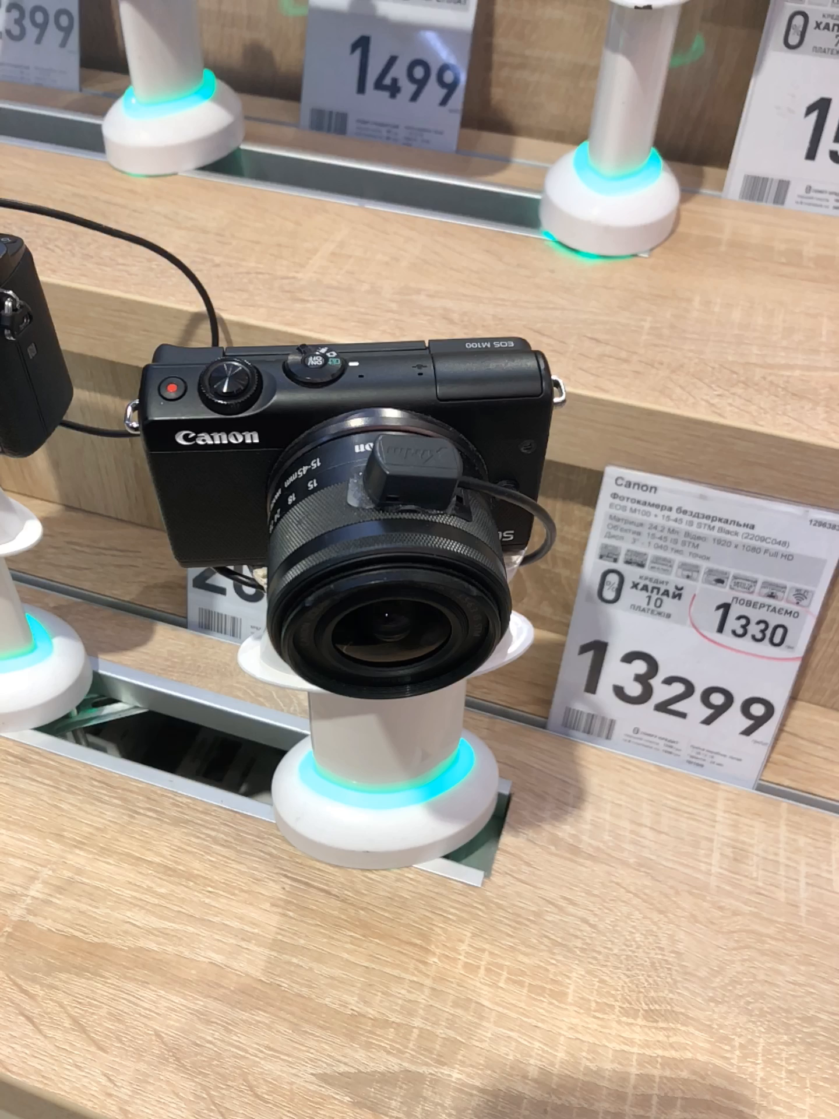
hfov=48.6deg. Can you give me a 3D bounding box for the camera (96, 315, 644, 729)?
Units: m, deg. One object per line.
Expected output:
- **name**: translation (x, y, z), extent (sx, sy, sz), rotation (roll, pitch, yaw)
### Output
- **camera**: translation (-0.014, -0.012, 0.239), extent (0.112, 0.060, 0.082), rotation (-3, 48, -6)
